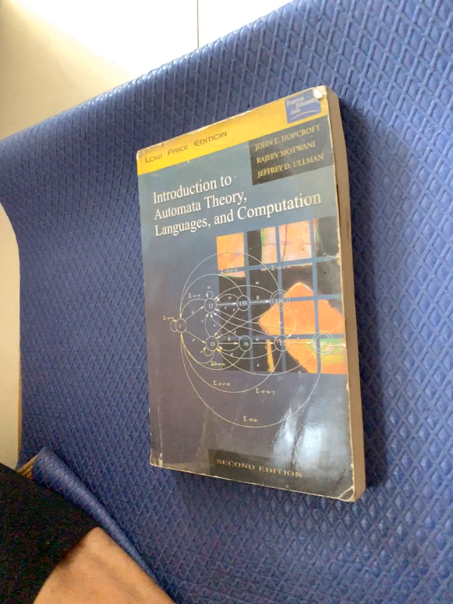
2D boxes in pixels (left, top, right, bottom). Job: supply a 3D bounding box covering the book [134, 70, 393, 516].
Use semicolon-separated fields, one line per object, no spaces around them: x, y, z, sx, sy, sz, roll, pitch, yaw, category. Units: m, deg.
0.015;-0.002;0.303;0.151;0.050;0.230;-6;85;36;book
